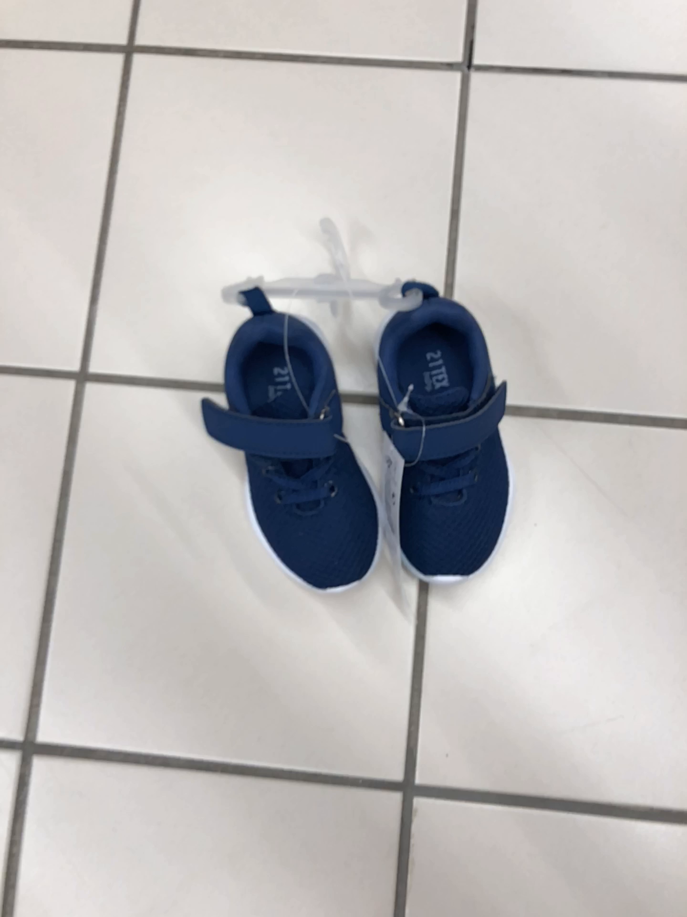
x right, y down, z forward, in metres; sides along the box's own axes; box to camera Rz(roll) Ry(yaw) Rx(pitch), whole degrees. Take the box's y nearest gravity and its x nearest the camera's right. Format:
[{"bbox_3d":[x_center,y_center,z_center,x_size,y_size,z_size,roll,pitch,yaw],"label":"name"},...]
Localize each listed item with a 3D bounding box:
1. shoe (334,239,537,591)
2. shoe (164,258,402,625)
[{"bbox_3d":[0.043,-0.017,0.388,0.081,0.074,0.160,-4,82,2],"label":"shoe"},{"bbox_3d":[-0.028,-0.005,0.391,0.074,0.076,0.157,-15,81,1],"label":"shoe"}]
